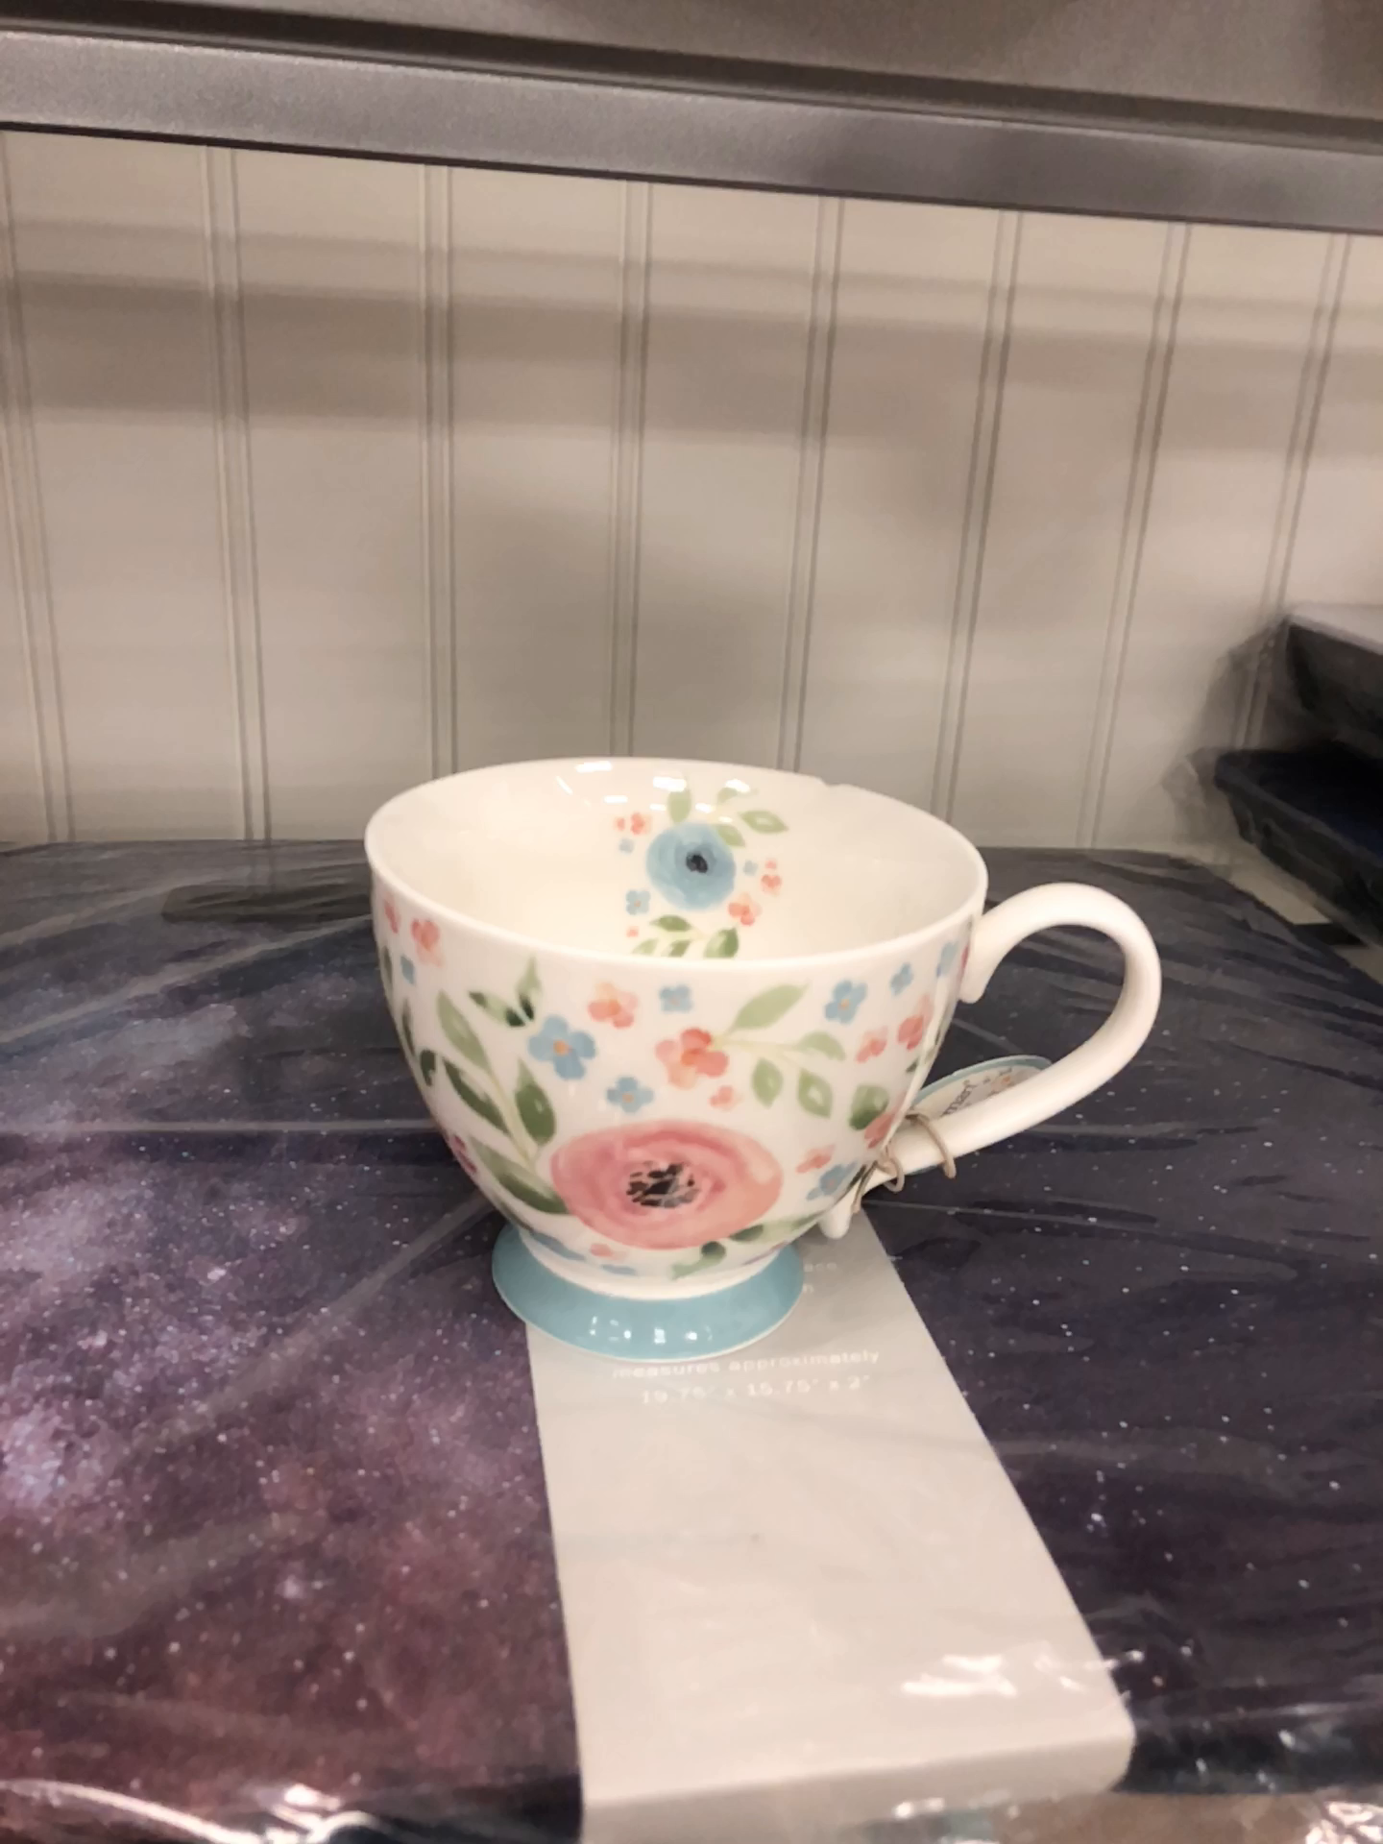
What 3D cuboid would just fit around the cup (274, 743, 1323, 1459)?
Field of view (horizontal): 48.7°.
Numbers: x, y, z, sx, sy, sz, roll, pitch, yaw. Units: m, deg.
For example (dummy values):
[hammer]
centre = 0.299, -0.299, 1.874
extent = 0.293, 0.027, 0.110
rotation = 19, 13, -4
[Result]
[cup]
centre = 0.015, 0.024, 0.284
extent = 0.150, 0.079, 0.111
rotation = 3, 22, 0
